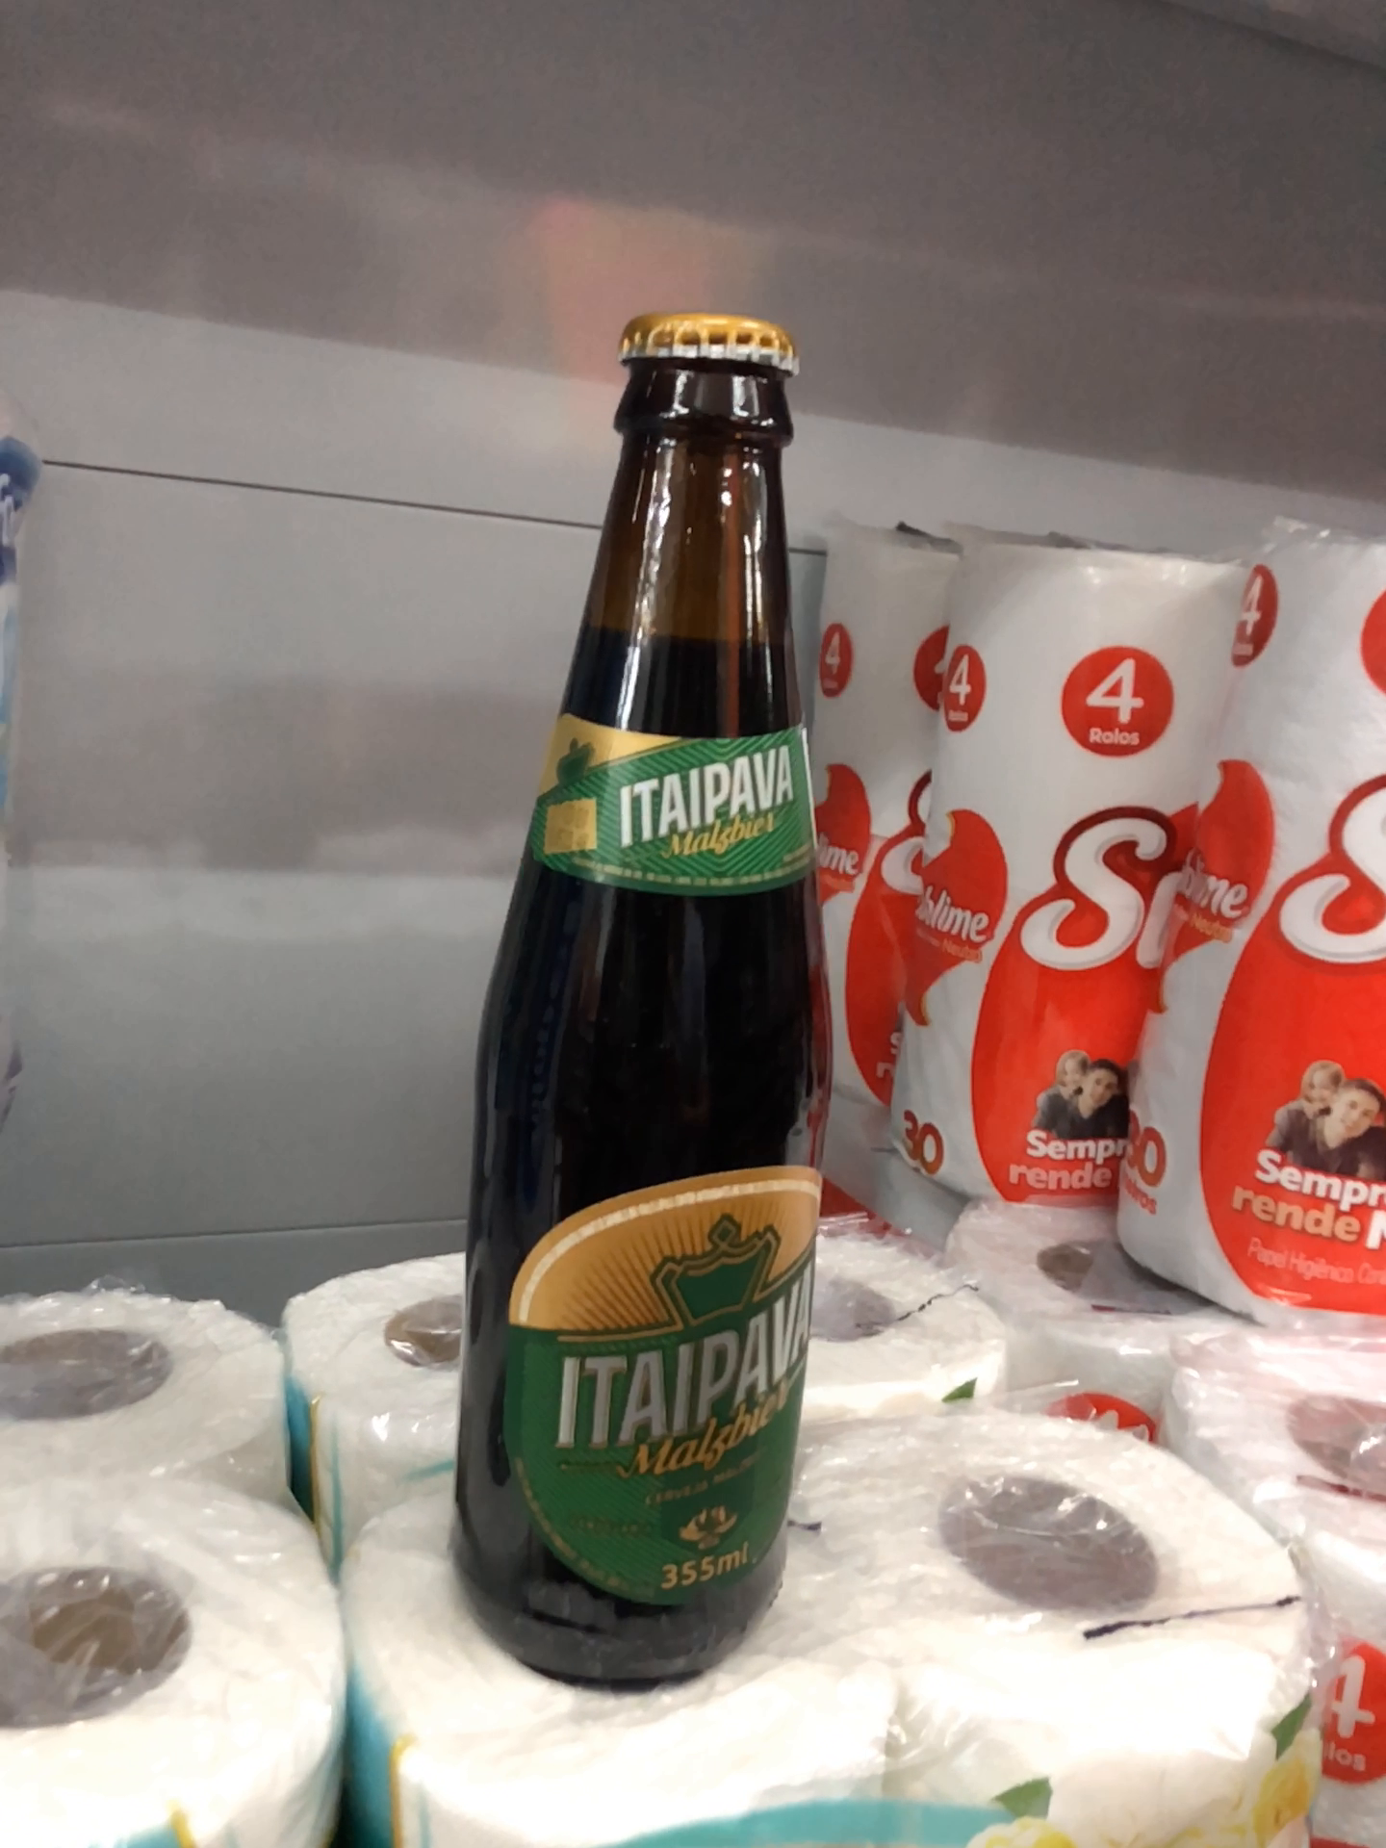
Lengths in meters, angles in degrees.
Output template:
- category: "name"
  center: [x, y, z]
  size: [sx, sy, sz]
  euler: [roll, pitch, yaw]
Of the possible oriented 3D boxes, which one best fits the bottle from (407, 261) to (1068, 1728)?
- category: "bottle"
  center: [0.001, 0.013, 0.263]
  size: [0.070, 0.219, 0.060]
  euler: [0, 13, -28]
